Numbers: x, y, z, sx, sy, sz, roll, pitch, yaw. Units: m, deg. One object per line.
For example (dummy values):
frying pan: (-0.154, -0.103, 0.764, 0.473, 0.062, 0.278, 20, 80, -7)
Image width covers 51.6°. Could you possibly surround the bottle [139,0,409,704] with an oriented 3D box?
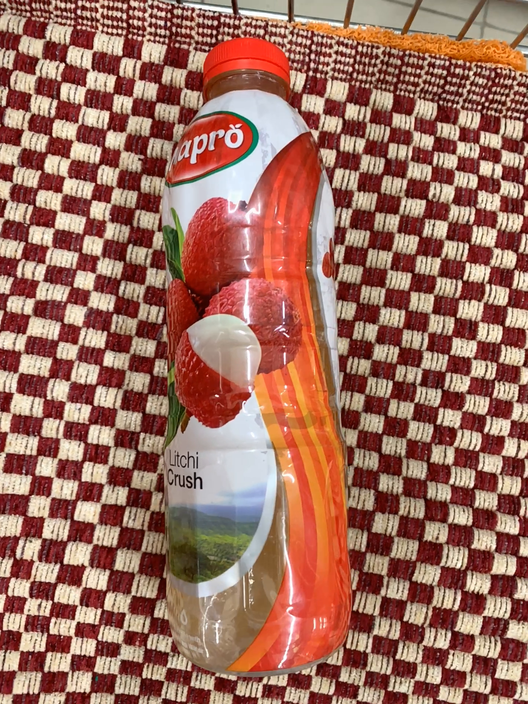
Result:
bottle: (0.004, -0.005, 0.218, 0.080, 0.070, 0.240, 1, 88, -44)
